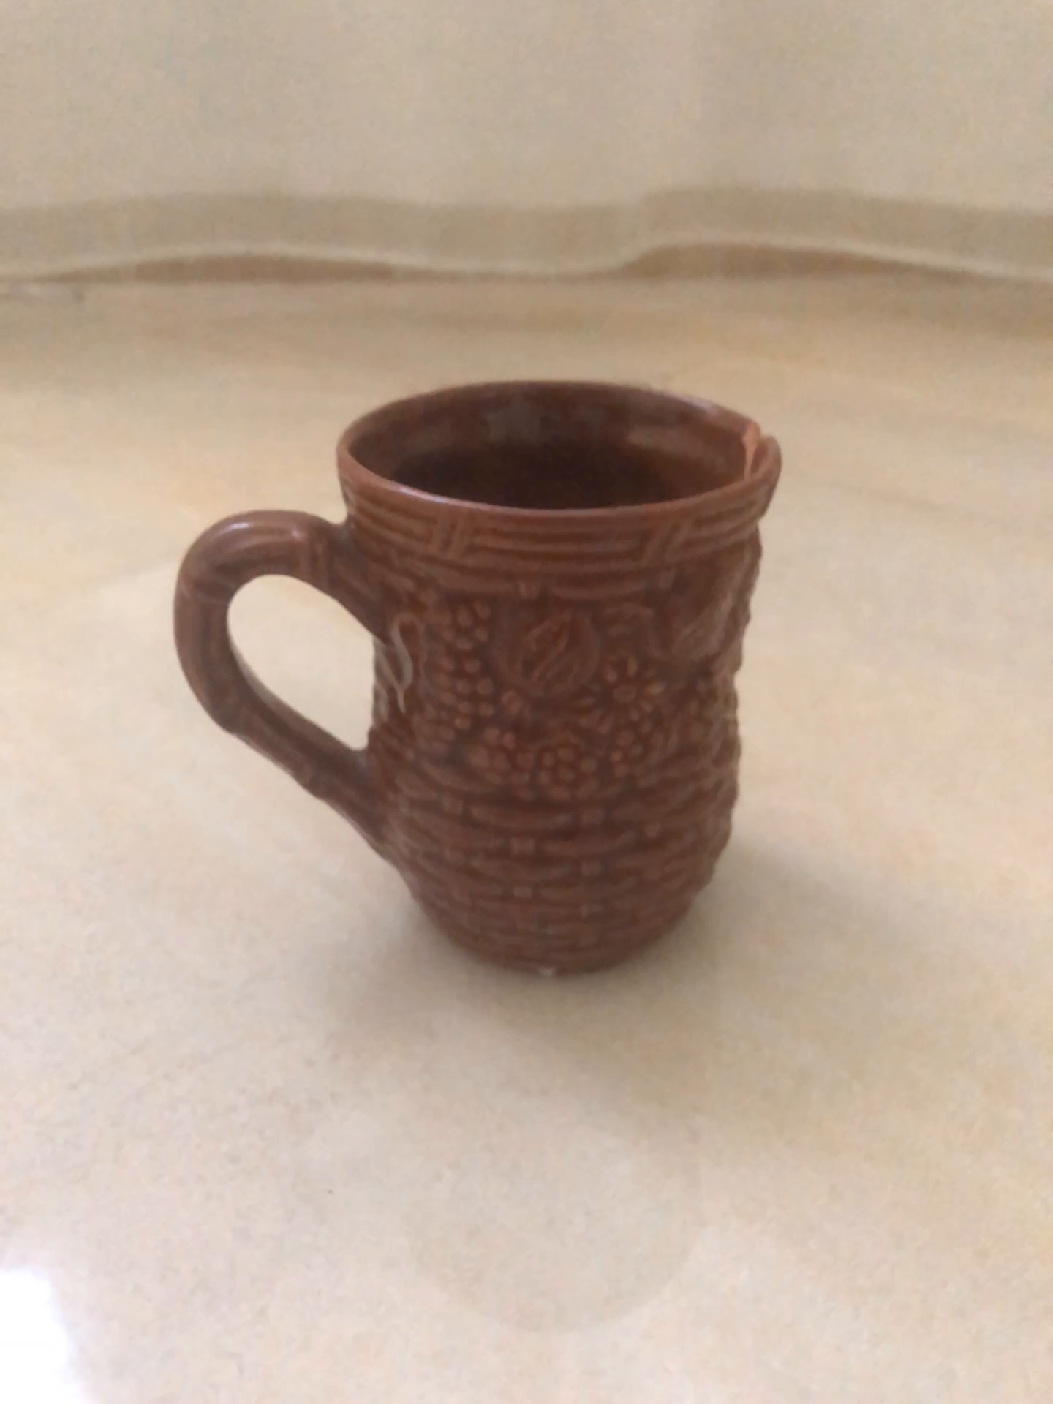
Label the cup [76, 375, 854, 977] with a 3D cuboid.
[{"bbox_3d":[-0.008,-0.008,0.210,0.104,0.081,0.073,0,29,1],"label":"cup"}]
